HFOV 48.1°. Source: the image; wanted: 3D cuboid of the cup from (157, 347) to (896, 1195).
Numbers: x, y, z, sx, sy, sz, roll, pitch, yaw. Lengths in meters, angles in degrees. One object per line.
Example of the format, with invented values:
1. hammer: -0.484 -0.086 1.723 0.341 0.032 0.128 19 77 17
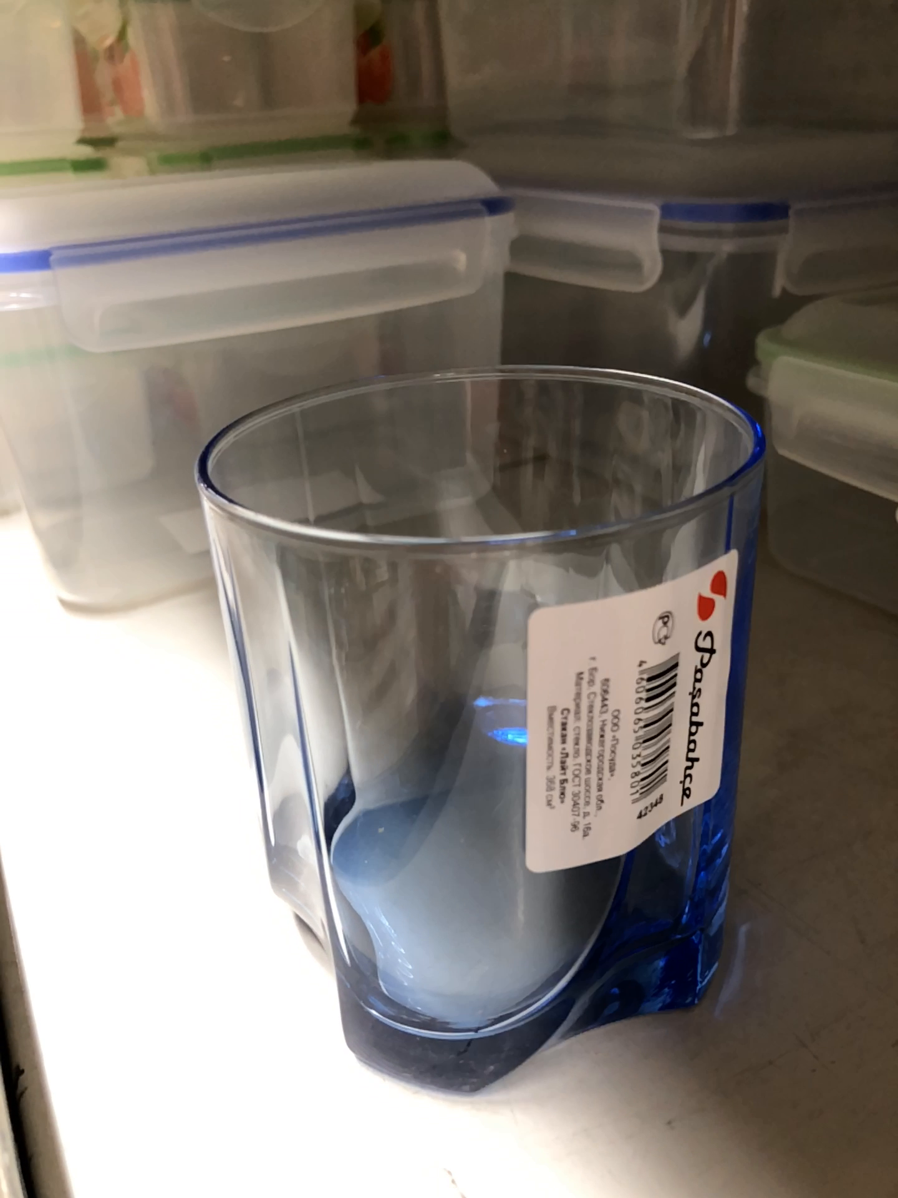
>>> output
1. cup: 0.006 0.017 0.172 0.083 0.095 0.085 -2 24 1
